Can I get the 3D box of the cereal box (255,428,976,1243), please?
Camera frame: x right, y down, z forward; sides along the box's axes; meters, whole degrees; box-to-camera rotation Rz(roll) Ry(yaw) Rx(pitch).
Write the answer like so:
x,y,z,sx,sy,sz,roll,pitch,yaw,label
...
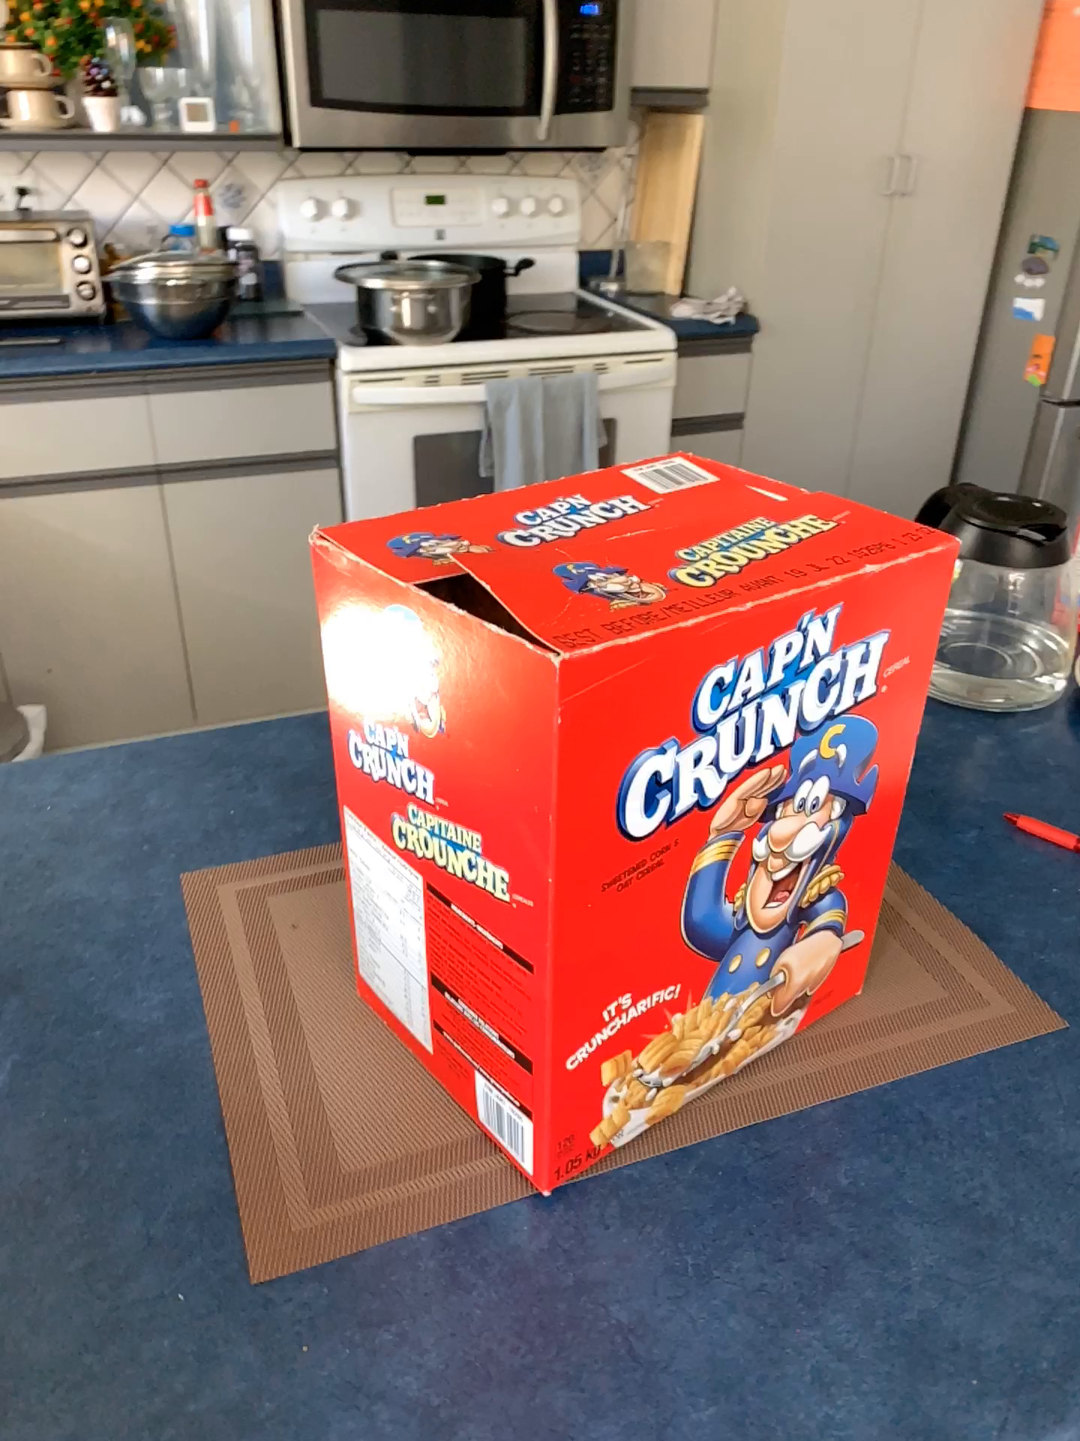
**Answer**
x,y,z,sx,sy,sz,roll,pitch,yaw,label
0.033,0.034,0.596,0.271,0.297,0.211,-19,34,-33,cereal box
